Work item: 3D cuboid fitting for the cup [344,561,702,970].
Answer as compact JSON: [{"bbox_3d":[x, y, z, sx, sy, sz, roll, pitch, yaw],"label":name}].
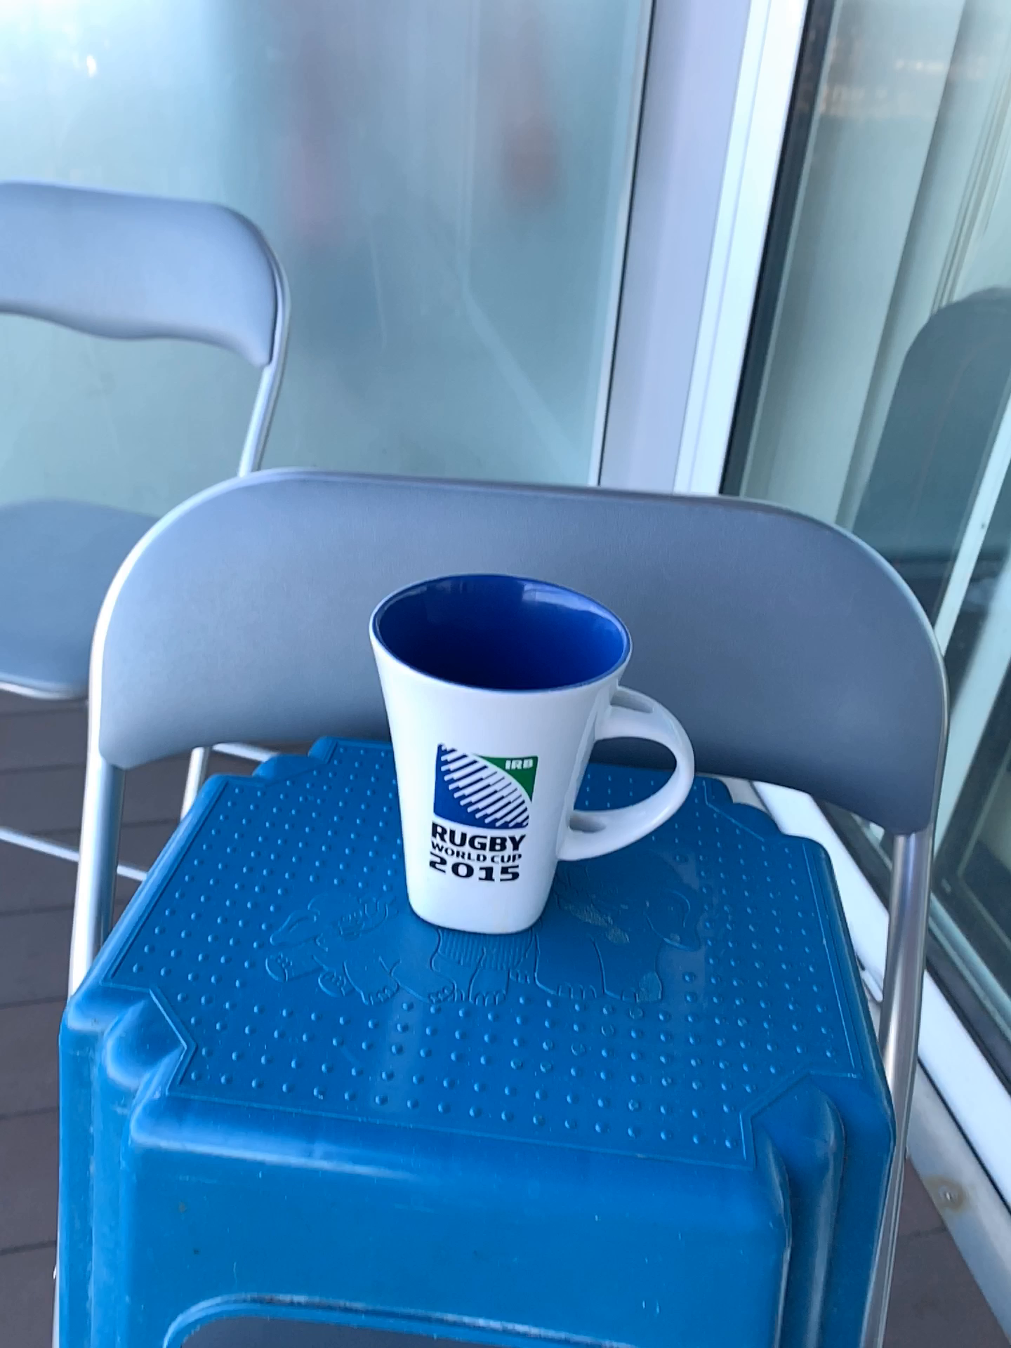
[{"bbox_3d":[0.005,0.031,0.372,0.107,0.105,0.083,6,31,3],"label":"cup"}]
